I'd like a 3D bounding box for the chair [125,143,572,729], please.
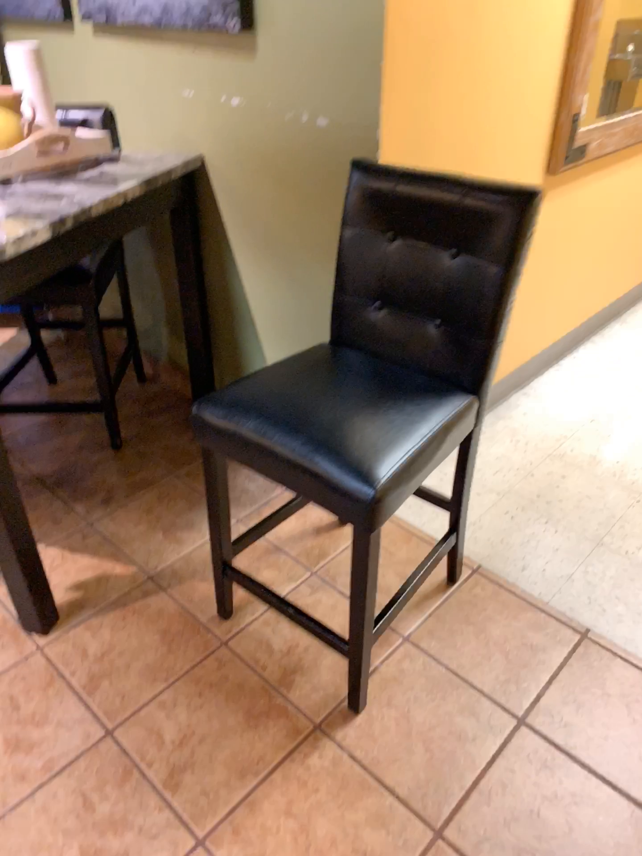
[{"bbox_3d":[0.073,-0.015,1.388,0.499,0.961,0.620,24,40,32],"label":"chair"}]
